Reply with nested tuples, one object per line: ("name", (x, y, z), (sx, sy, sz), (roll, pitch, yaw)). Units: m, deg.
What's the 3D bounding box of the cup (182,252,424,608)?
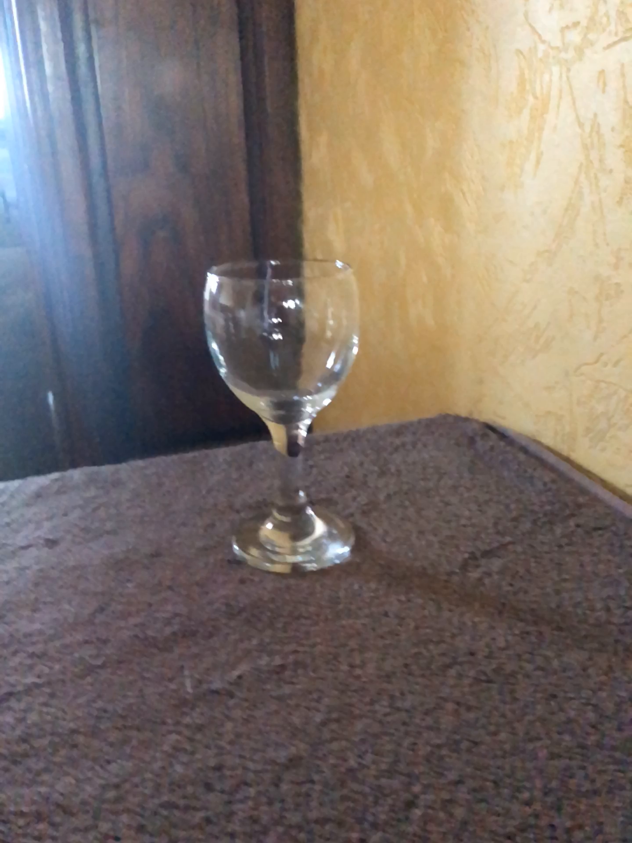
("cup", (-0.004, -0.003, 0.307), (0.070, 0.129, 0.070), (-2, 19, 1))
